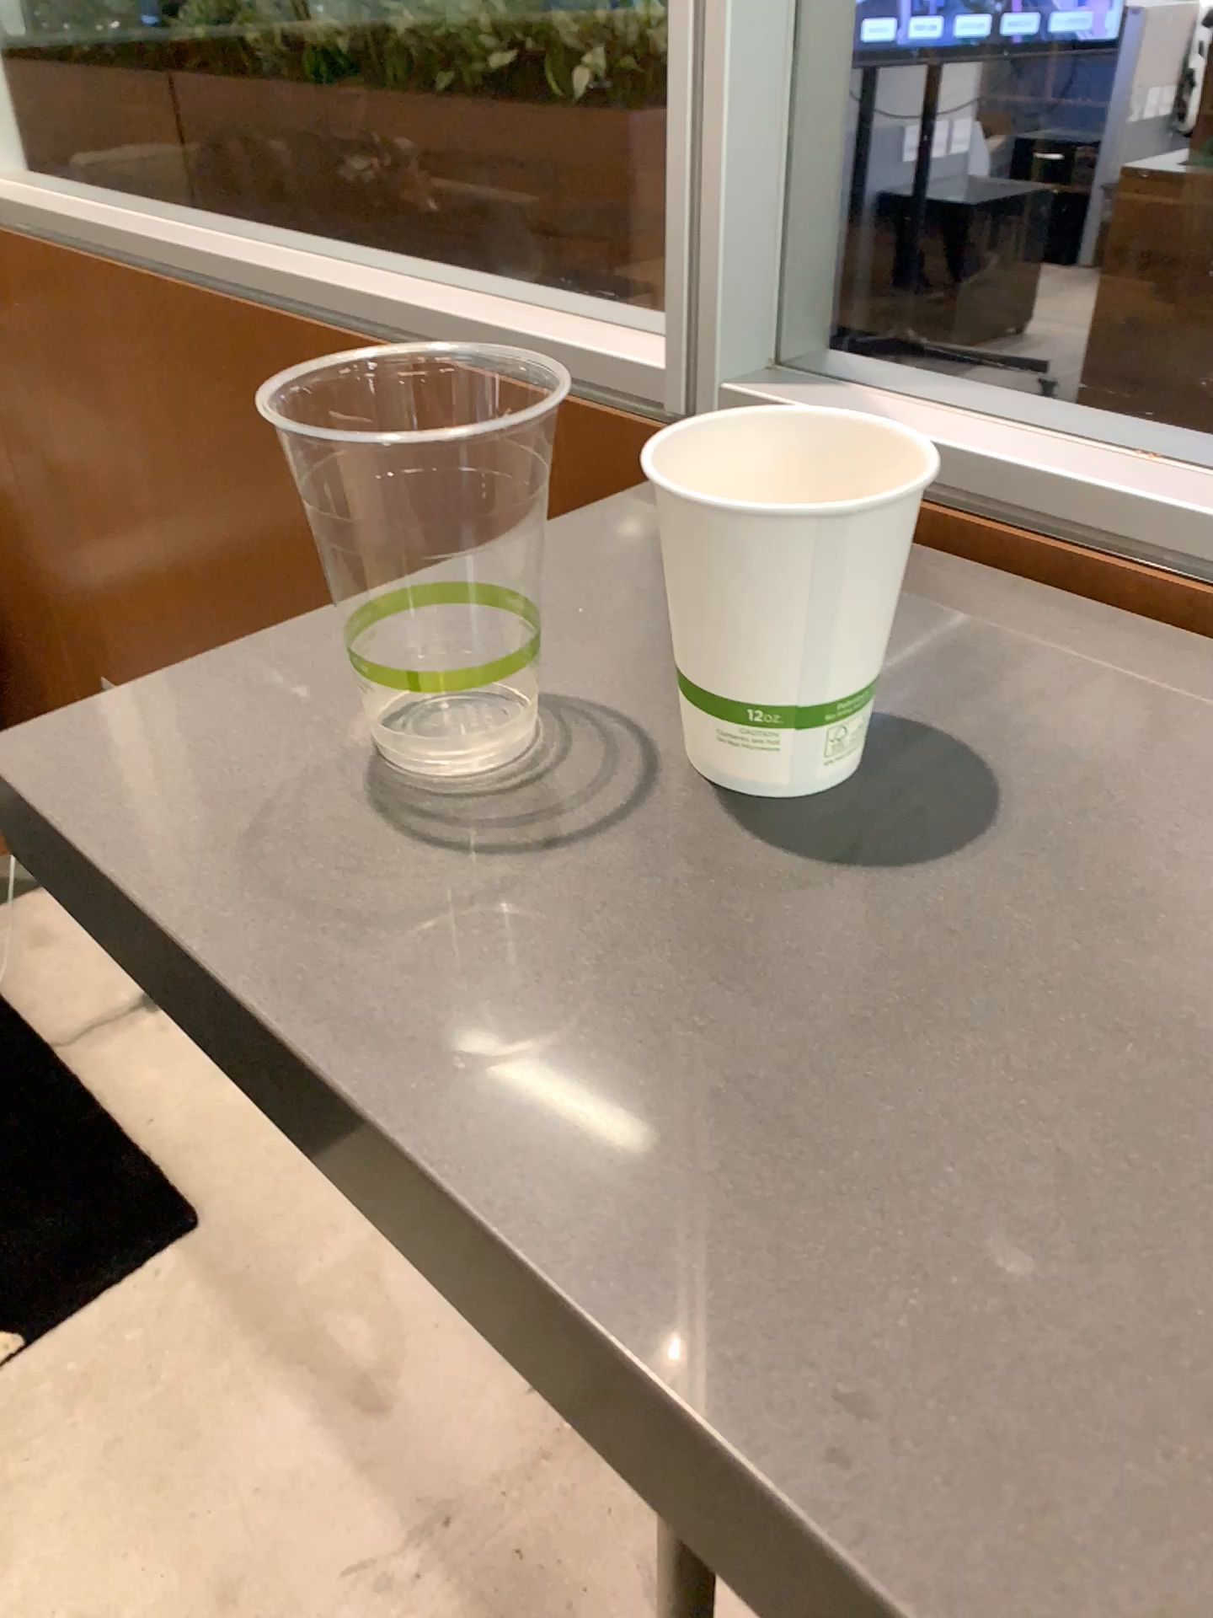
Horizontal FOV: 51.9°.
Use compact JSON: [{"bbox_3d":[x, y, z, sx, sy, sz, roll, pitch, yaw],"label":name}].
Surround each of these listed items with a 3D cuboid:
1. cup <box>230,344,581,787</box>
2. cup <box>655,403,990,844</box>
[{"bbox_3d":[-0.058,-0.084,0.422,0.090,0.119,0.091,-1,34,0],"label":"cup"},{"bbox_3d":[0.062,-0.062,0.406,0.080,0.109,0.091,-3,34,-4],"label":"cup"}]
